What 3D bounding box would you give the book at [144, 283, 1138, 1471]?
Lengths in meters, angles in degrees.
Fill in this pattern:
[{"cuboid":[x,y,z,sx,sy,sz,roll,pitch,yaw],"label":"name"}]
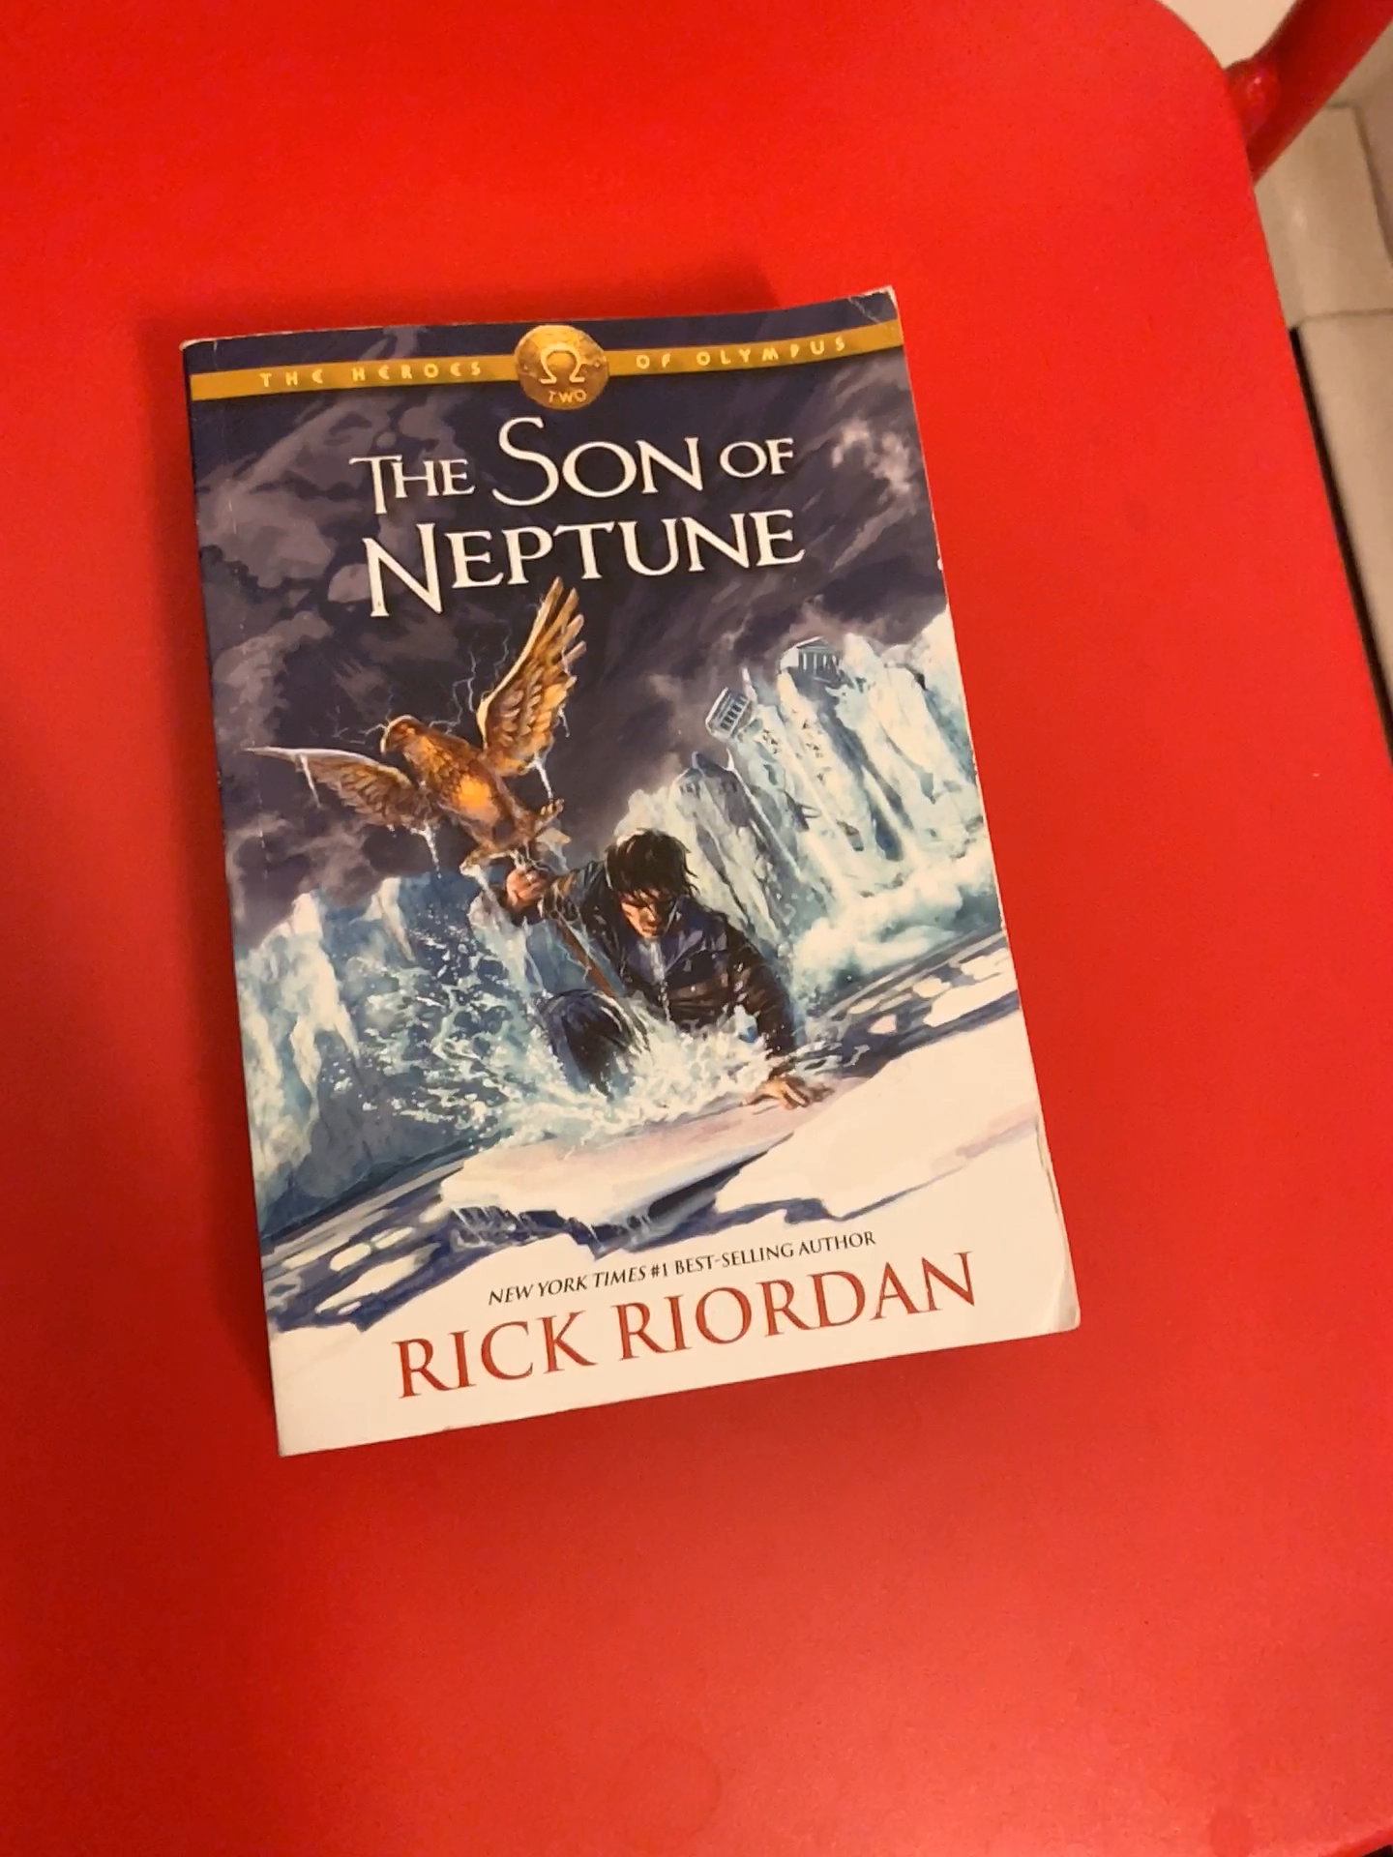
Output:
[{"cuboid":[-0.014,-0.017,0.257,0.142,0.040,0.188,-6,79,-11],"label":"book"}]
